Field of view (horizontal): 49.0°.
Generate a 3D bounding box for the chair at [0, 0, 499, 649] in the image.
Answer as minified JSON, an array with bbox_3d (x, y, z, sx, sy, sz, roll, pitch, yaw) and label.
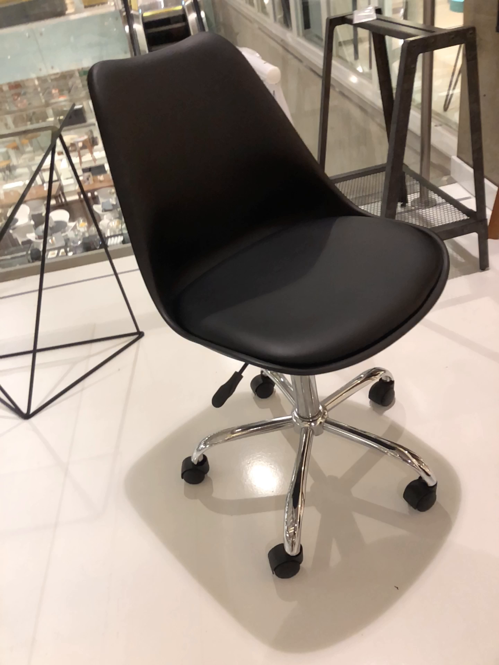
[{"bbox_3d":[0.067,-0.071,1.030,0.632,0.823,0.633,-34,41,-28],"label":"chair"}]
